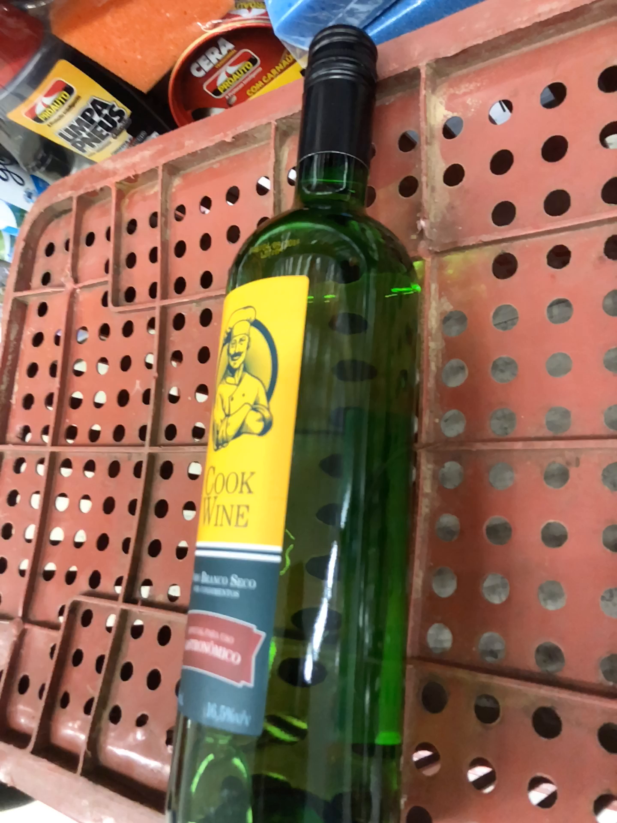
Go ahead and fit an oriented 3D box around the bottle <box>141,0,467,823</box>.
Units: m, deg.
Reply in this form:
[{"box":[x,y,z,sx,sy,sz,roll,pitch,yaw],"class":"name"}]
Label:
[{"box":[0.004,-0.015,0.244,0.080,0.060,0.320,-9,73,46],"class":"bottle"}]
